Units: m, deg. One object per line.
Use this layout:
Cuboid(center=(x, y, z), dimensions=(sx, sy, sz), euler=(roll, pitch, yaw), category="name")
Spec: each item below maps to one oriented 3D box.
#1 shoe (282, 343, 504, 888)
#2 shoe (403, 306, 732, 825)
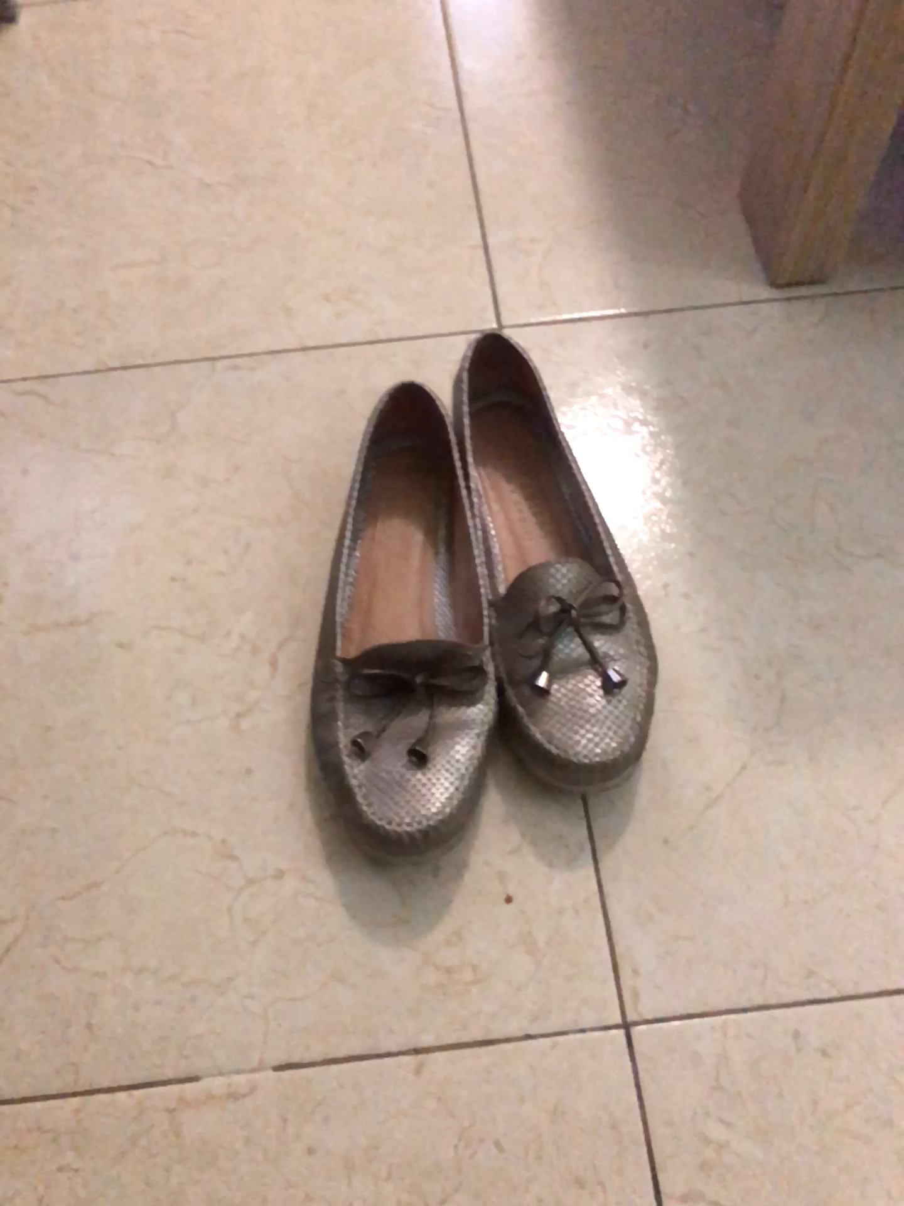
Cuboid(center=(-0.027, -0.003, 0.560), dimensions=(0.100, 0.080, 0.301), euler=(-1, 61, 1), category="shoe")
Cuboid(center=(0.051, -0.030, 0.554), dimensions=(0.100, 0.080, 0.271), euler=(-12, 61, -5), category="shoe")
